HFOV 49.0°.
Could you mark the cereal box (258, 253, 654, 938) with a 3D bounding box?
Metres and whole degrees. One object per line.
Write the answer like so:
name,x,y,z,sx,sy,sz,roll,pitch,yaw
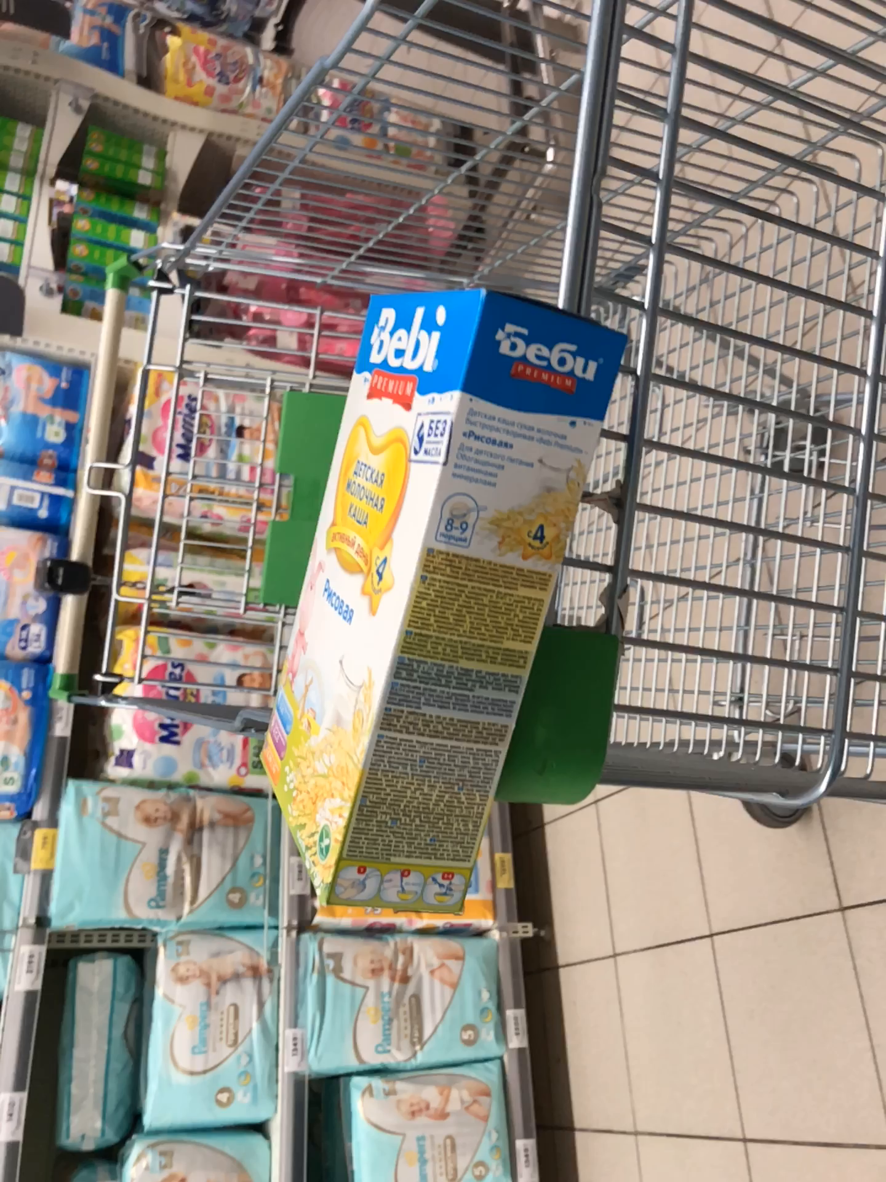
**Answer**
cereal box,-0.011,-0.008,0.365,0.151,0.050,0.210,-138,62,-67
